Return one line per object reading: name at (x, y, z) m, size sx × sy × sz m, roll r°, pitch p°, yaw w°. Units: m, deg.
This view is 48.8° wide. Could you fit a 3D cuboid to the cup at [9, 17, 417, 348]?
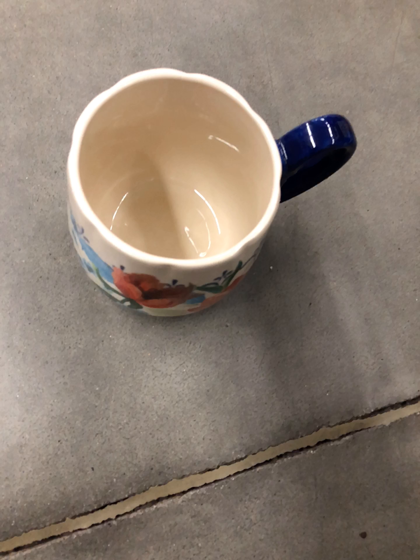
cup at (-0.003, -0.039, 0.235) m, size 0.140 × 0.100 × 0.100 m, roll -19°, pitch 83°, yaw -12°
